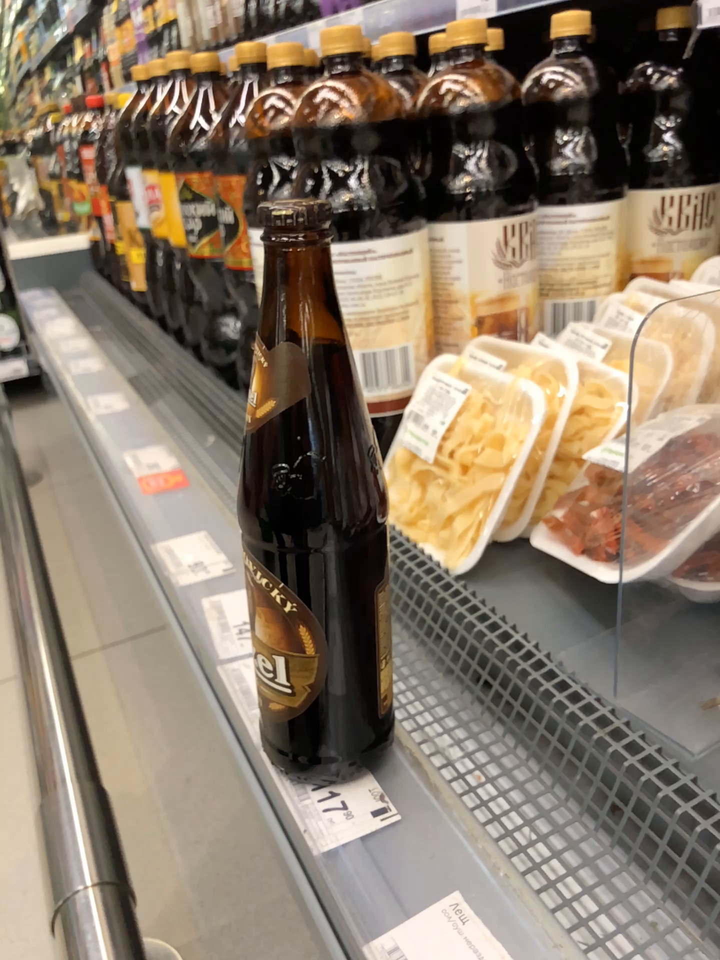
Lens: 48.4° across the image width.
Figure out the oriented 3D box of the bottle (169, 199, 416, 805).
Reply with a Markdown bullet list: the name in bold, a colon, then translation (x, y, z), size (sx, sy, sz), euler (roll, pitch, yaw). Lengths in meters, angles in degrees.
- **bottle**: translation (-0.023, 0.013, 0.326), size (0.070, 0.231, 0.070), euler (-3, 24, 1)
